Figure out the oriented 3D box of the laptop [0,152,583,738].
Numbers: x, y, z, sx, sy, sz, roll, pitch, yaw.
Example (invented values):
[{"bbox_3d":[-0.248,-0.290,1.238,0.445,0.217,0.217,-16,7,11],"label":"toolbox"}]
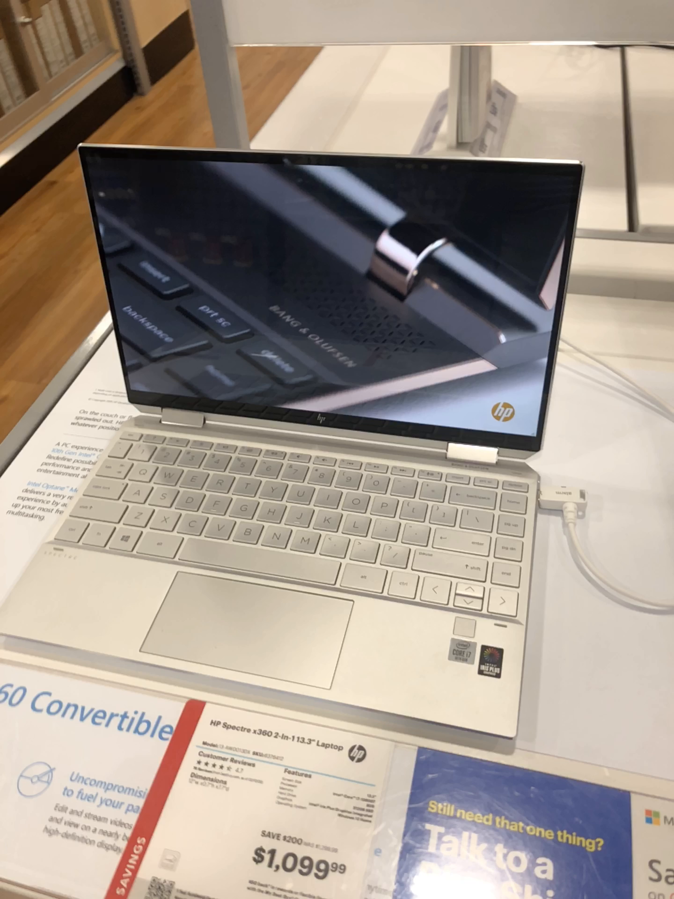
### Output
[{"bbox_3d":[-0.037,-0.023,0.413,0.303,0.184,0.228,7,45,14],"label":"laptop"}]
